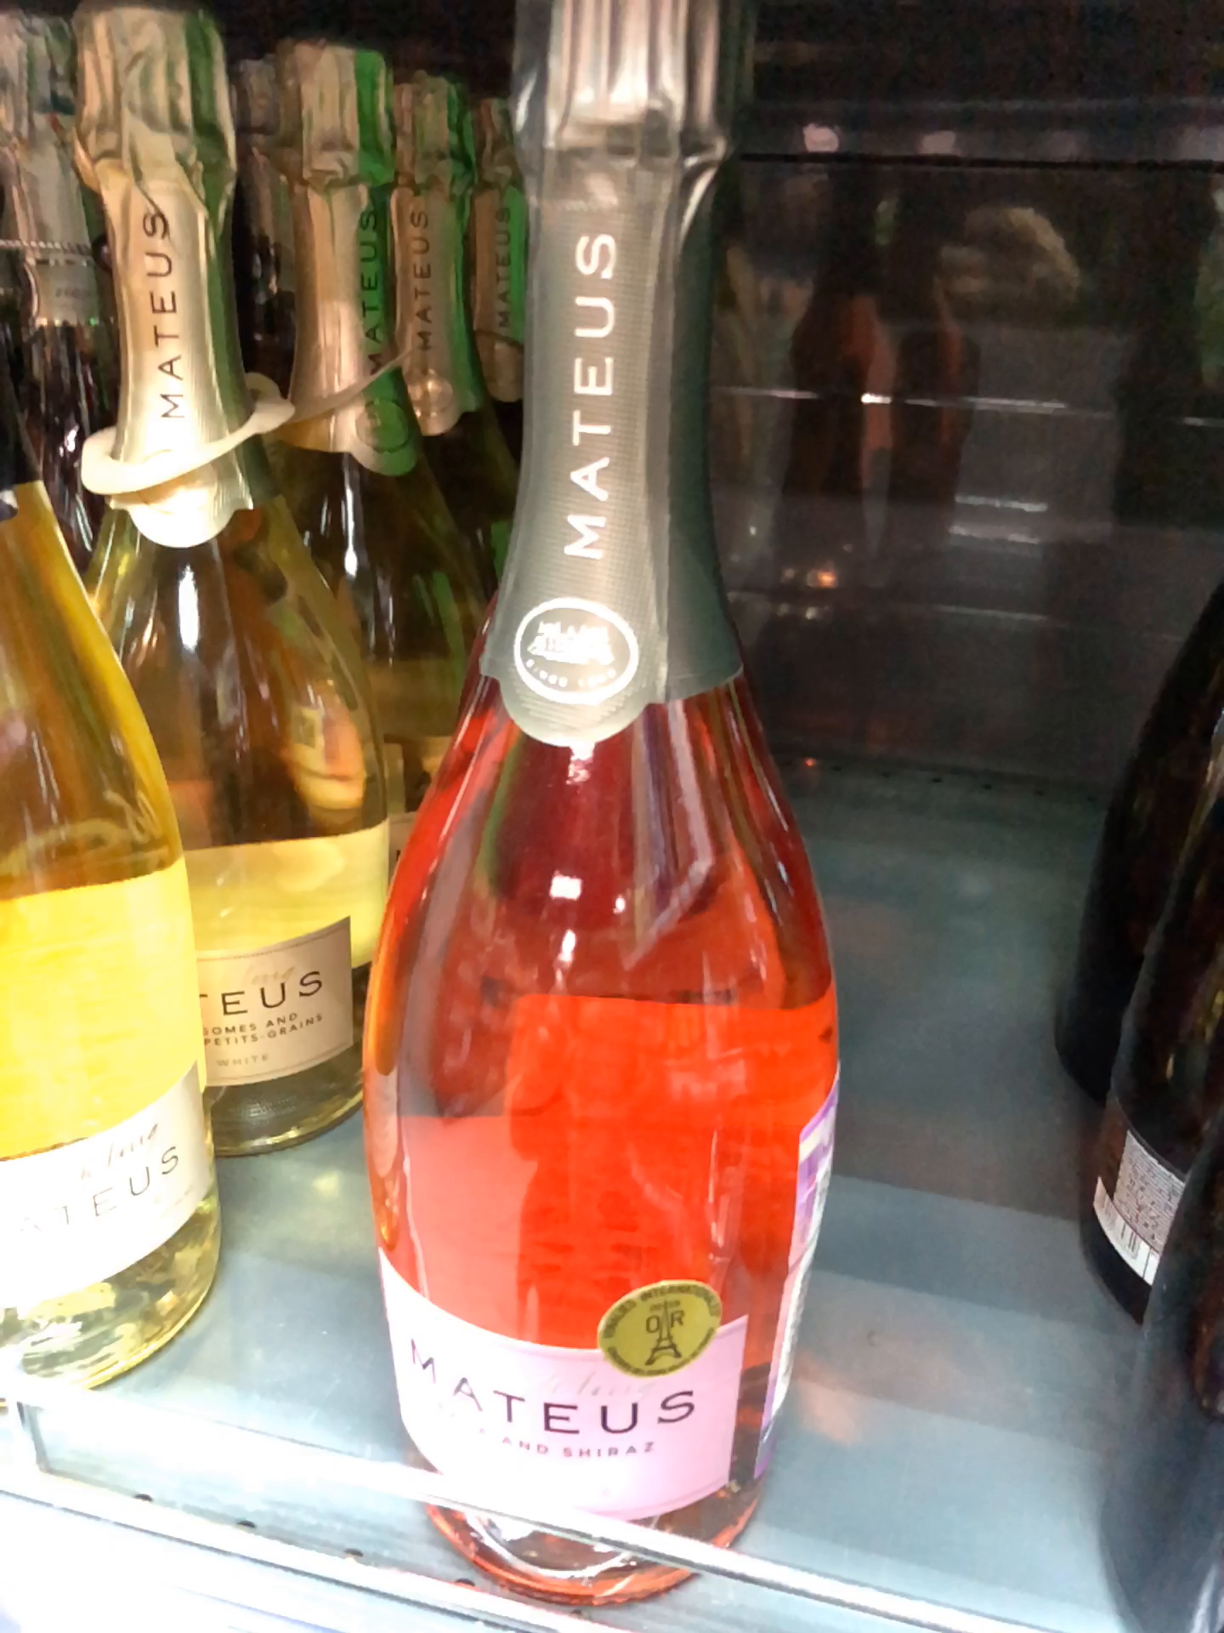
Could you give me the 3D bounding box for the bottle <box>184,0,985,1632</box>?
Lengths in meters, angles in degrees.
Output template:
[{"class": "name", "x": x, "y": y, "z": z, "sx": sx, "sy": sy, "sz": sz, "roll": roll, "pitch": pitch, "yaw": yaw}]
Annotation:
[{"class": "bottle", "x": -0.001, "y": 0.004, "z": 0.262, "sx": 0.100, "sy": 0.318, "sz": 0.090, "roll": 7, "pitch": 22, "yaw": 13}]
